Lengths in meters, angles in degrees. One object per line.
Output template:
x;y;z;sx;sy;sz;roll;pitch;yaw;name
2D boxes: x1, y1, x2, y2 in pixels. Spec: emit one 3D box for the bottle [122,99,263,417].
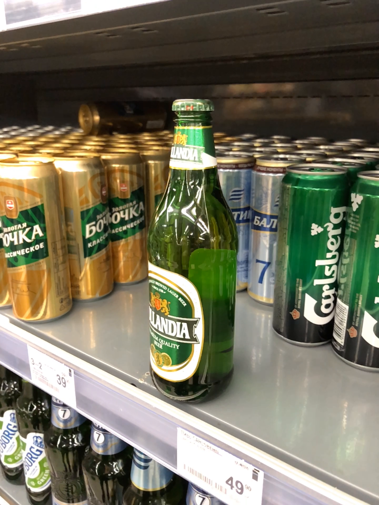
0.000;0.001;0.308;0.063;0.211;0.070;-13;22;-33;bottle
